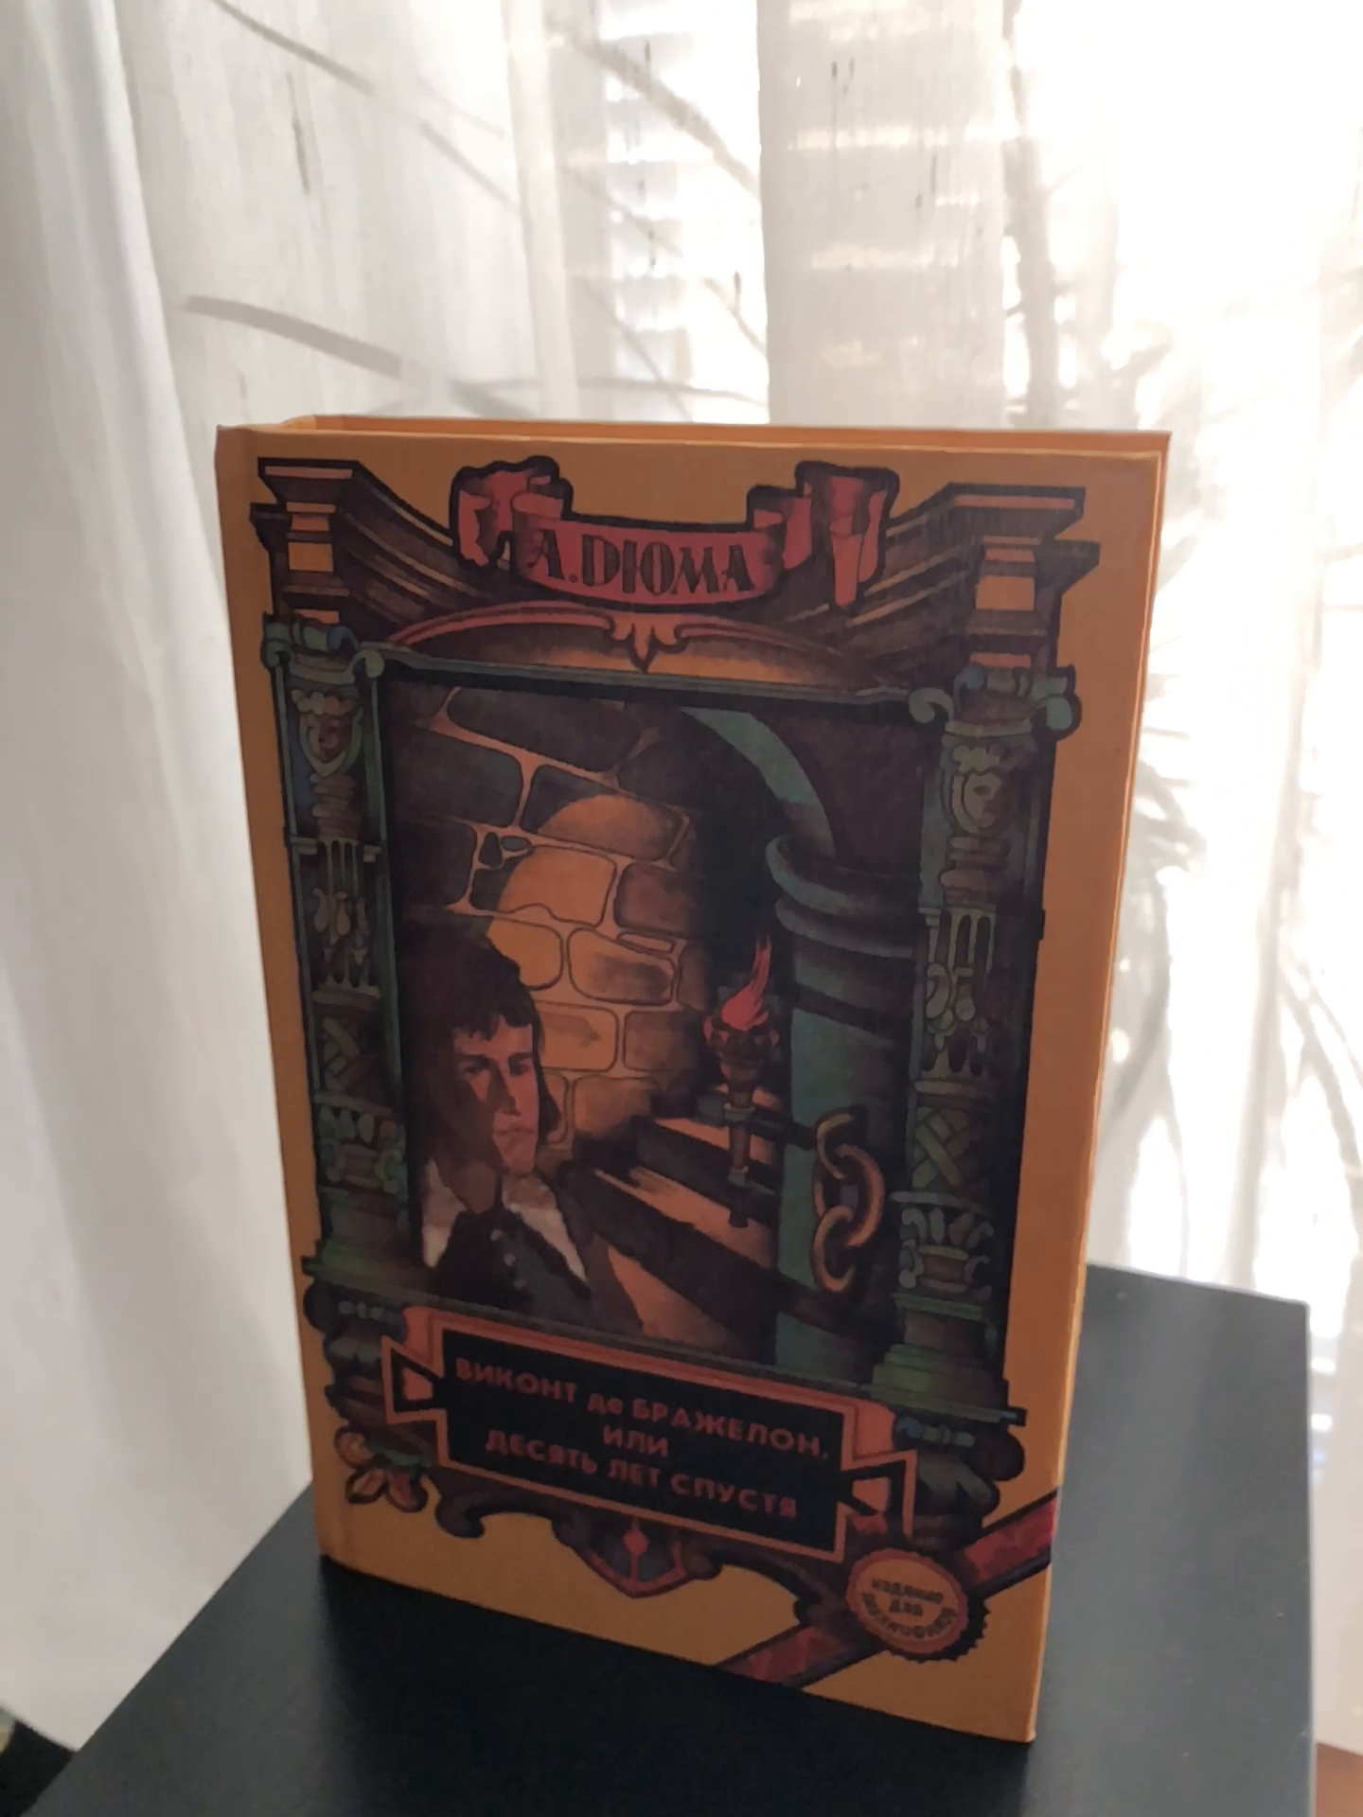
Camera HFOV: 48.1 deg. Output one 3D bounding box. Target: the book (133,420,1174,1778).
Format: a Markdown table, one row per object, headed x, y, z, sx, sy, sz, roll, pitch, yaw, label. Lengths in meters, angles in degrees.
| x | y | z | sx | sy | sz | roll | pitch | yaw | label |
| --- | --- | --- | --- | --- | --- | --- | --- | --- | --- |
| -0.005 | 0.026 | 0.245 | 0.141 | 0.198 | 0.040 | 6 | 19 | 19 | book |
